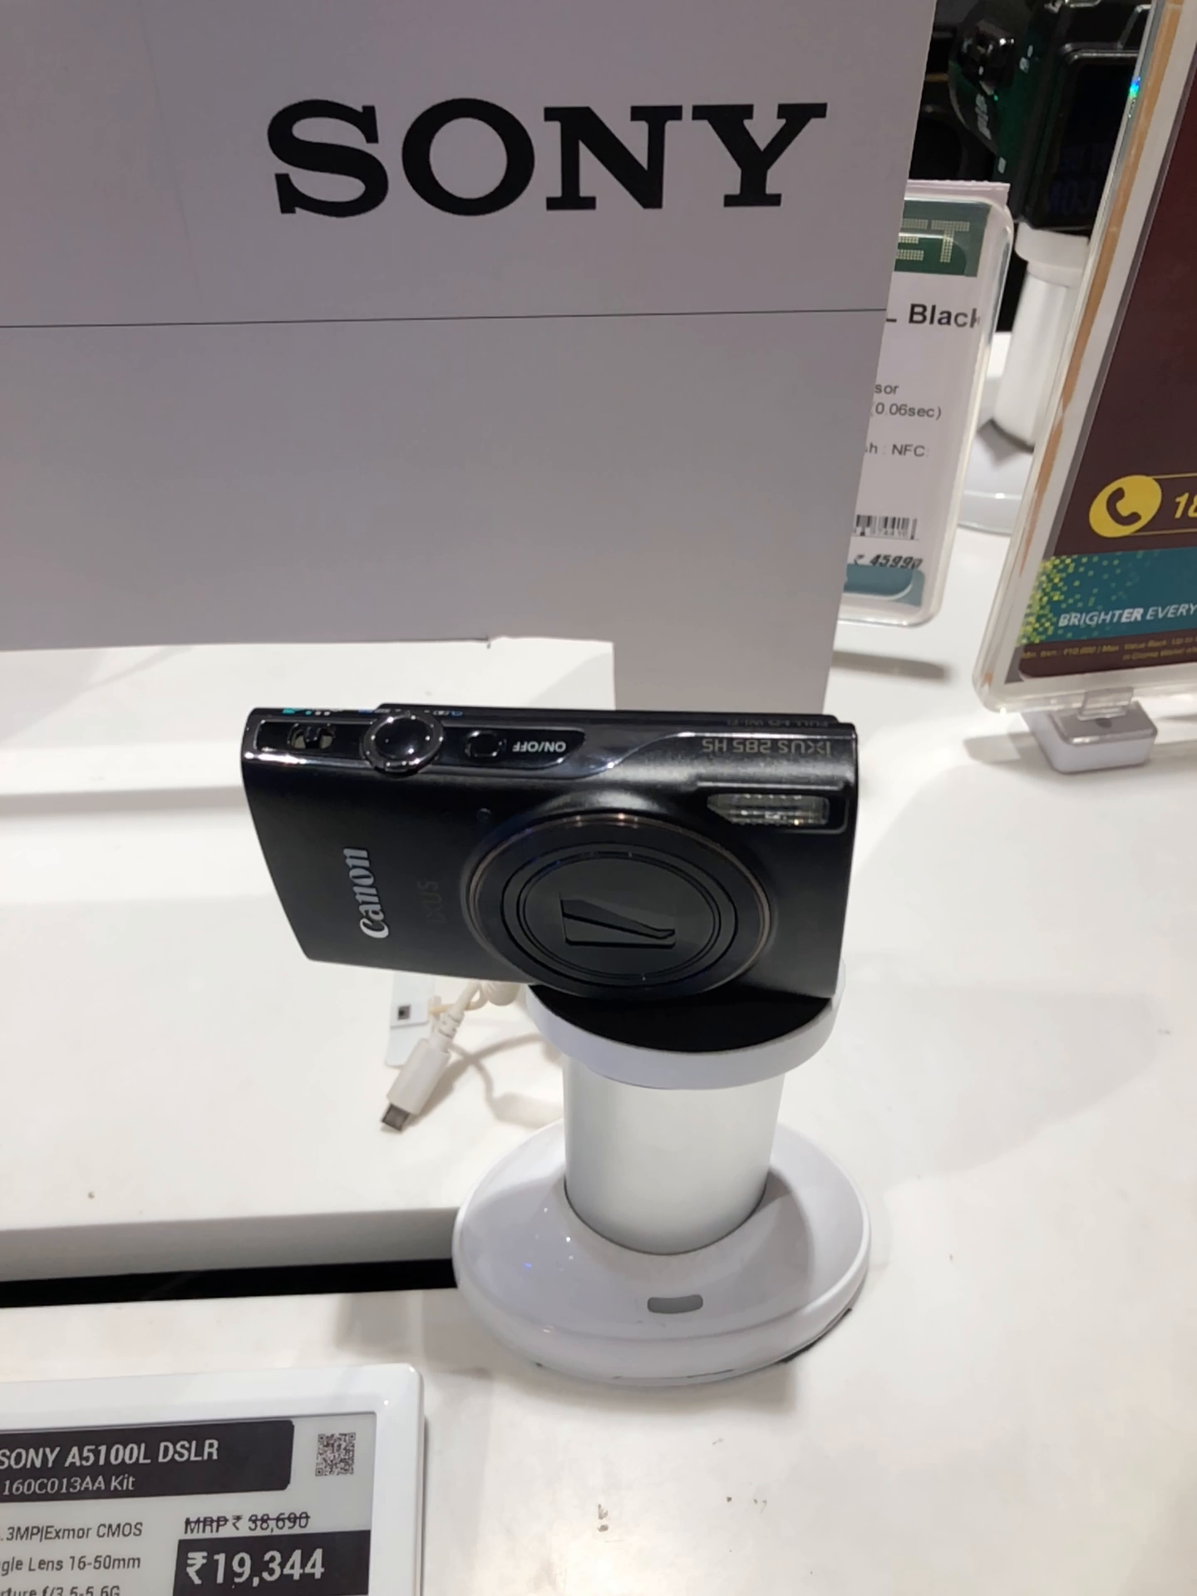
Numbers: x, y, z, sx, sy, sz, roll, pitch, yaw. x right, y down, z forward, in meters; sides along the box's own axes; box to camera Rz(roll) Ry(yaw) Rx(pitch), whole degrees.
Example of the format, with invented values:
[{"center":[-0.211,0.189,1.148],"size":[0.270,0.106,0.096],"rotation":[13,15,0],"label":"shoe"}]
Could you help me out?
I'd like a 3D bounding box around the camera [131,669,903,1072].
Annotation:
[{"center":[-0.011,0.013,0.221],"size":[0.110,0.060,0.030],"rotation":[2,46,2],"label":"camera"}]
